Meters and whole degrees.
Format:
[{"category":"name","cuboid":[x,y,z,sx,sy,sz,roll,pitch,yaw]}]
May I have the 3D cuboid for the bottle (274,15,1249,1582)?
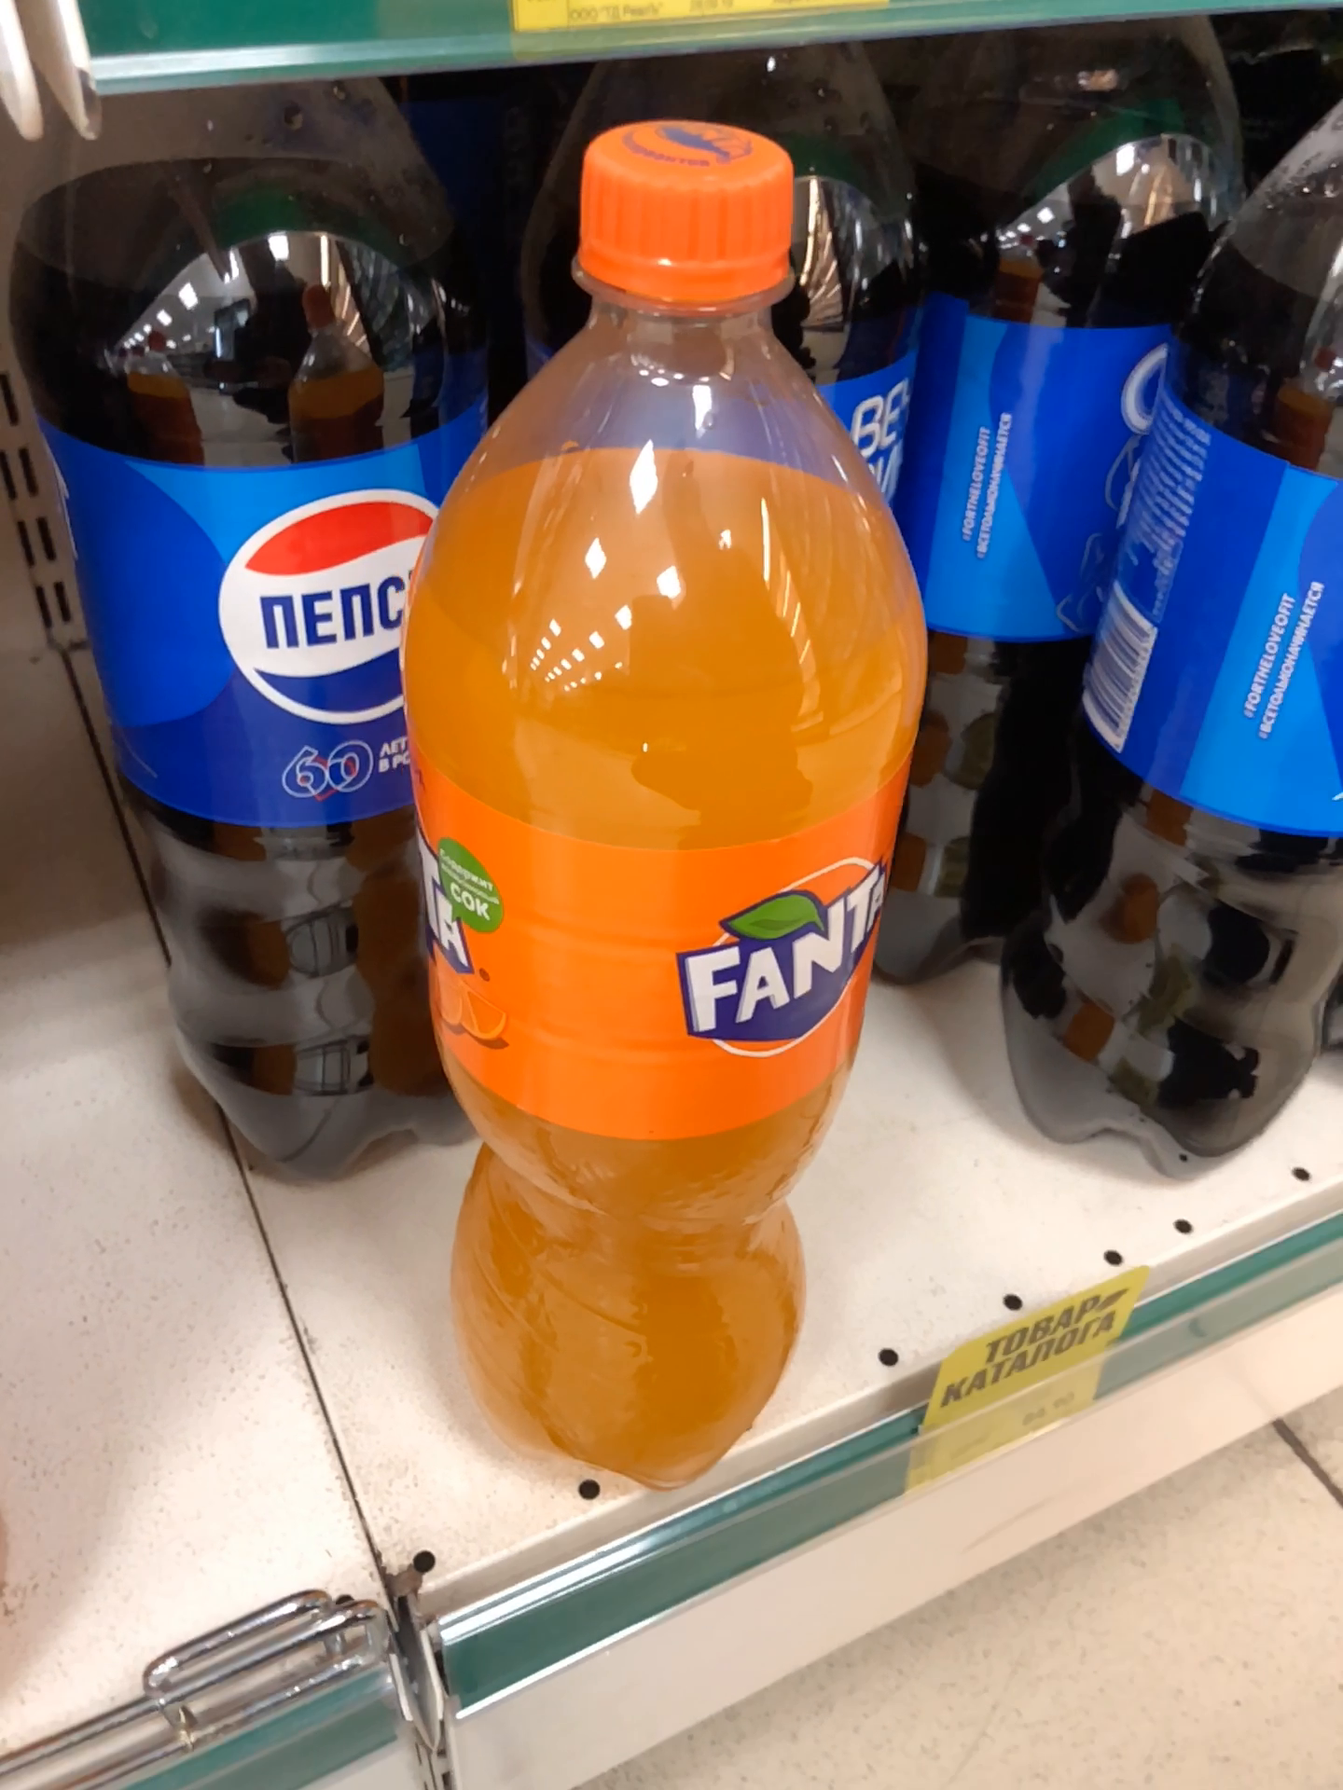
[{"category":"bottle","cuboid":[0.003,0.009,0.305,0.100,0.308,0.090,-19,47,-23]}]
